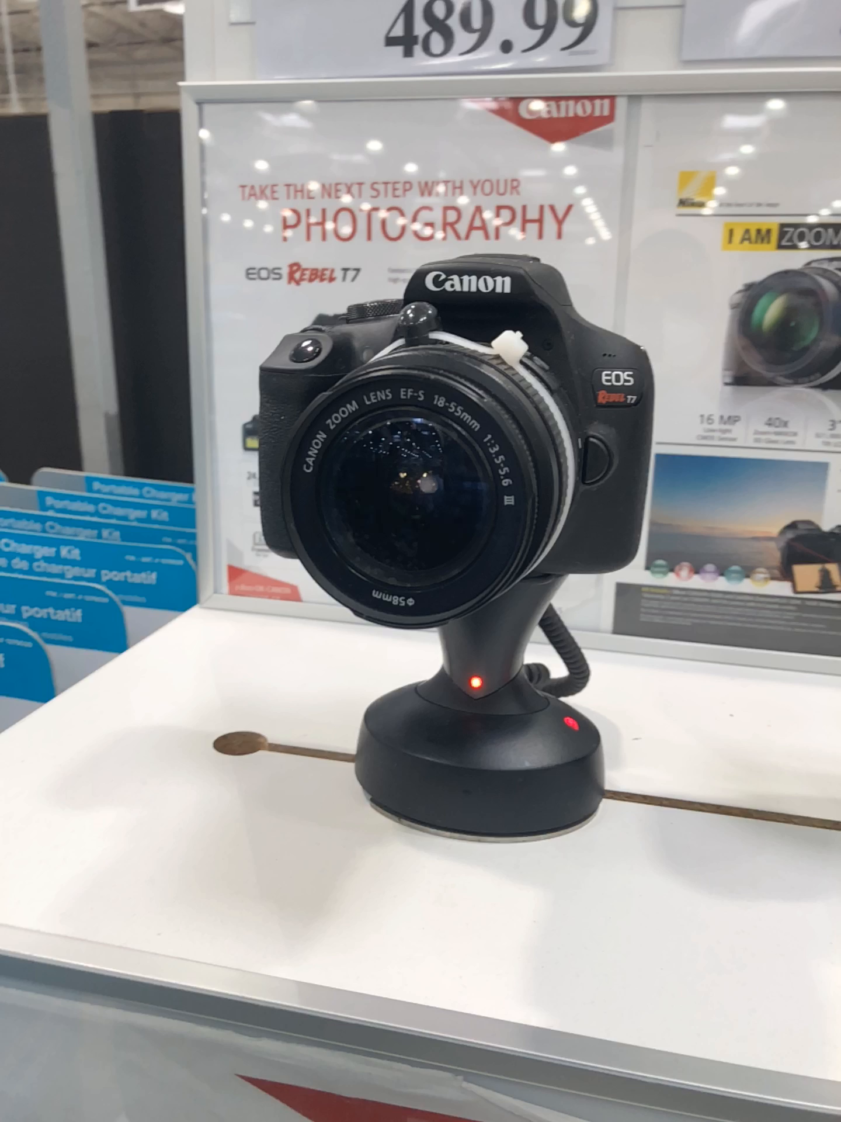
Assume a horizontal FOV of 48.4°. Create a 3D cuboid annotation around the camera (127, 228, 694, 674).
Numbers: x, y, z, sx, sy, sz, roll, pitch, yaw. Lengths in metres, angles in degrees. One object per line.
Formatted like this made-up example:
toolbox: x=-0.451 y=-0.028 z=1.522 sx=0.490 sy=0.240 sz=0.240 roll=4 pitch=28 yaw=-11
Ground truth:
camera: x=0.005 y=-0.041 z=0.279 sx=0.130 sy=0.100 sz=0.120 roll=4 pitch=15 yaw=10
